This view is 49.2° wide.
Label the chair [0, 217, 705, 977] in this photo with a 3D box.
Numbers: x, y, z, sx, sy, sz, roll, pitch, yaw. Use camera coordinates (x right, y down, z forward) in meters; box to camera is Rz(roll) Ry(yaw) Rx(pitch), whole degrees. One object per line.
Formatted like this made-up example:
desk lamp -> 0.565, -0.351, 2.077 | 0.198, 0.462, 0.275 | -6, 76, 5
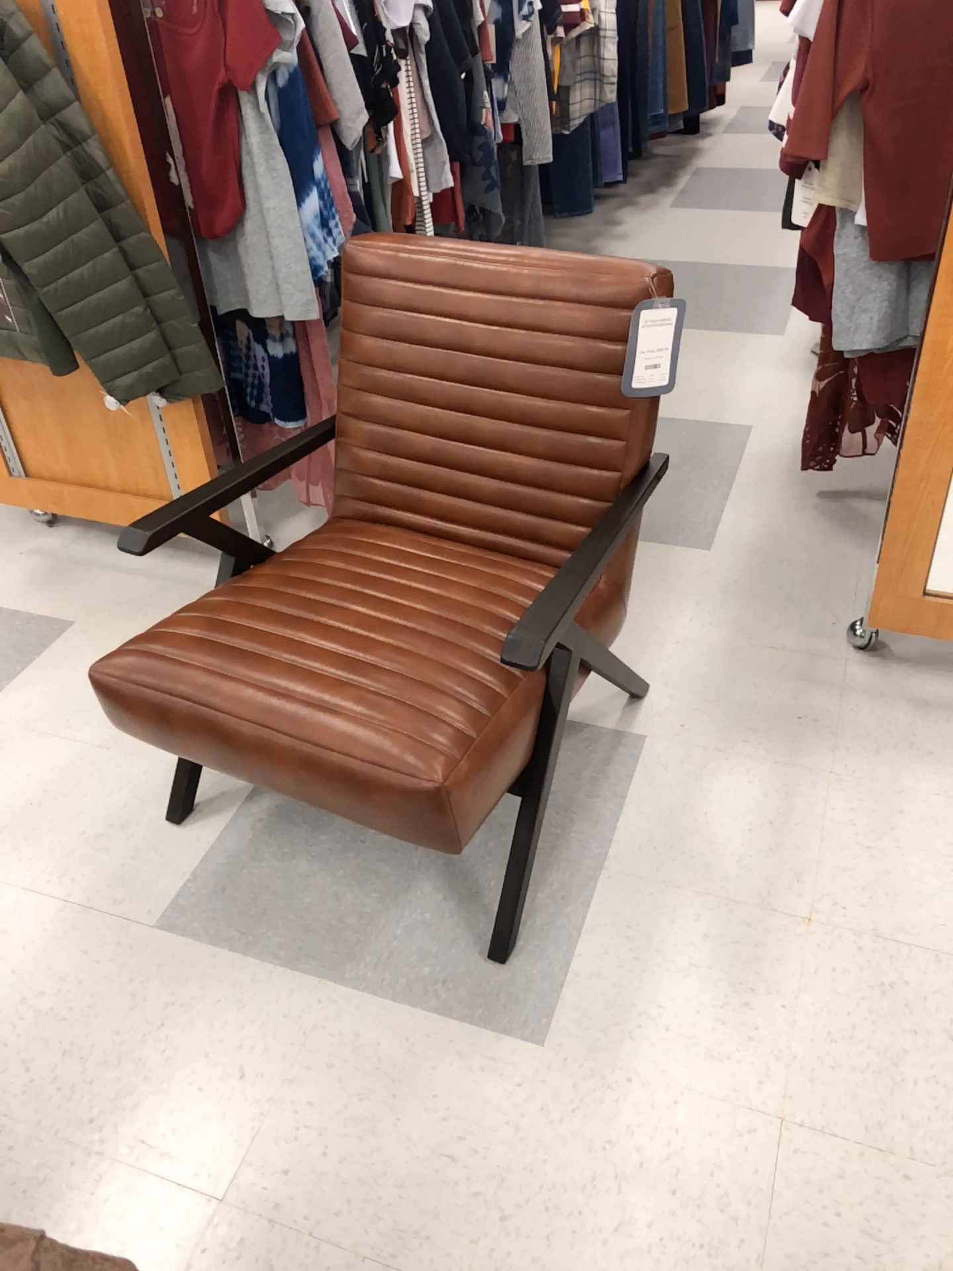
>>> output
chair -> -0.120, -0.110, 1.560 | 0.676, 0.756, 0.680 | 16, 42, 25
